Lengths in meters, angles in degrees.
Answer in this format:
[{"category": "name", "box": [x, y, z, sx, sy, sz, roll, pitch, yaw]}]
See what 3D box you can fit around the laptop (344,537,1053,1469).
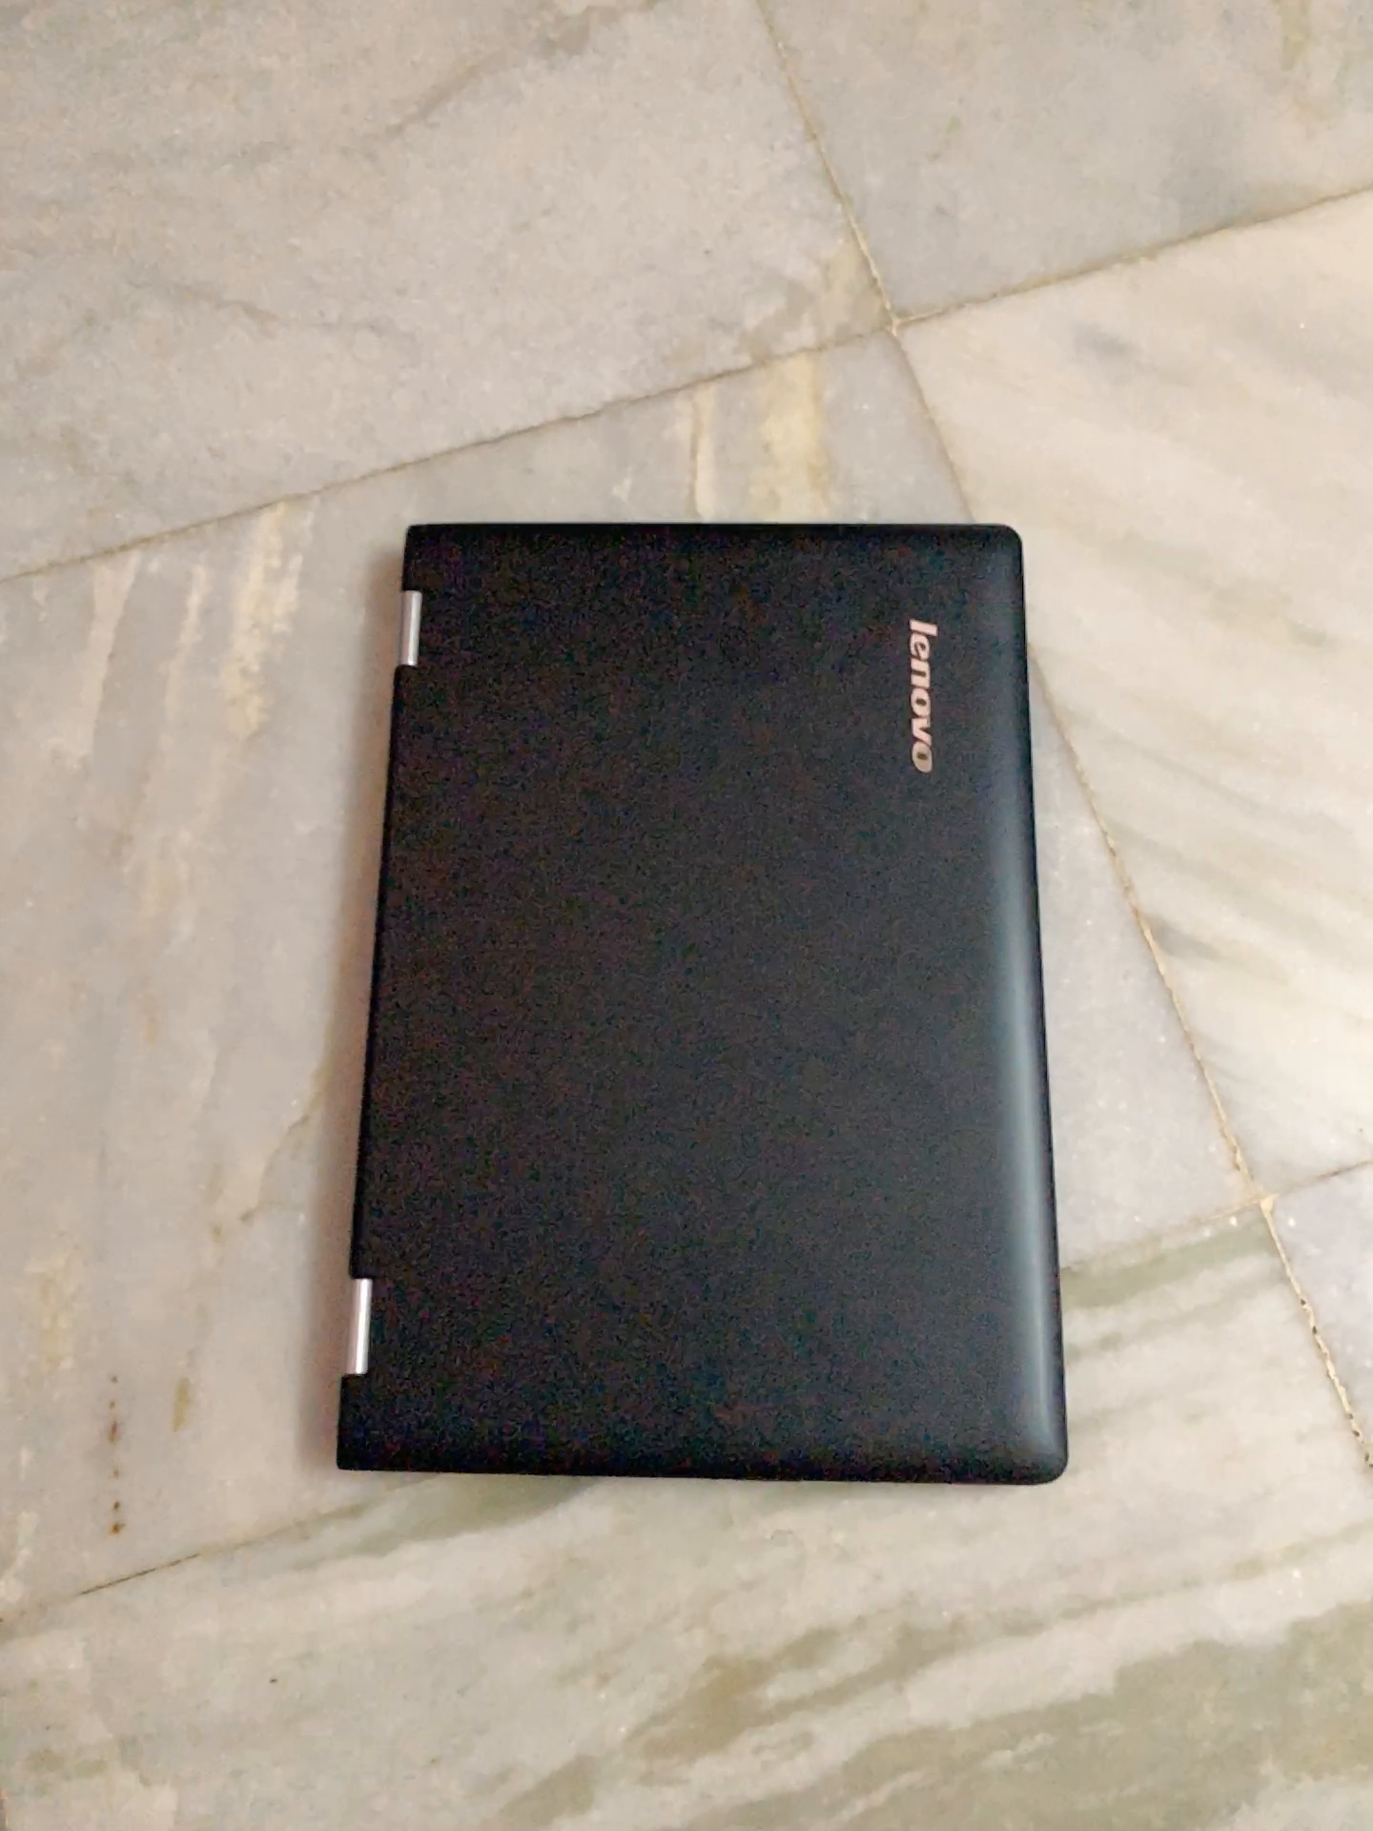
[{"category": "laptop", "box": [0.006, 0.016, 0.486, 0.223, 0.001, 0.325, 1, 75, 1]}]
